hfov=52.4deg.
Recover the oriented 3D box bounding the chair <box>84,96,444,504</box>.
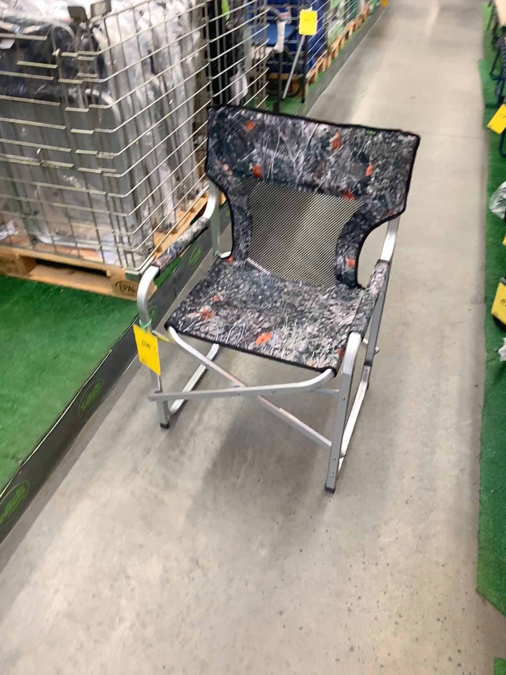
[{"bbox_3d":[0.066,-0.122,1.475,0.651,0.836,0.612,16,44,19],"label":"chair"}]
